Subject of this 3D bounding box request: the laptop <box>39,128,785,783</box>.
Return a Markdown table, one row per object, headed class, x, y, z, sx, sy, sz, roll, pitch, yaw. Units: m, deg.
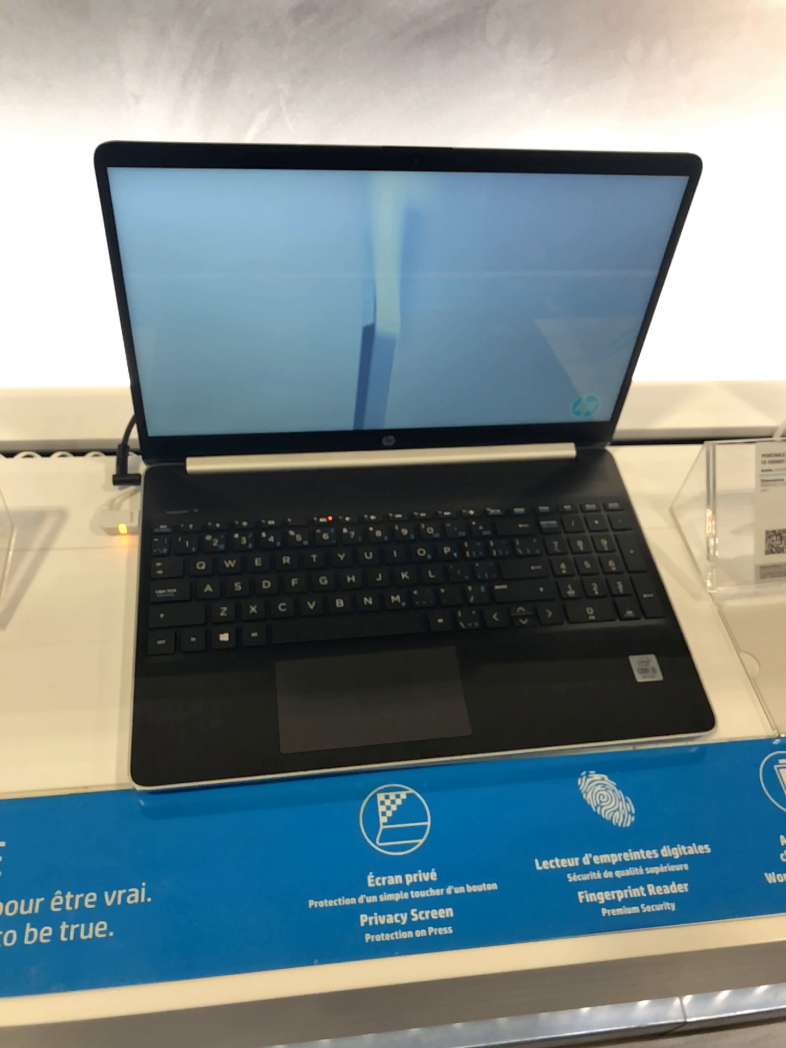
| class | x | y | z | sx | sy | sz | roll | pitch | yaw |
| --- | --- | --- | --- | --- | --- | --- | --- | --- | --- |
| laptop | 0.019 | -0.045 | 0.511 | 0.355 | 0.222 | 0.284 | -3 | 53 | -9 |
